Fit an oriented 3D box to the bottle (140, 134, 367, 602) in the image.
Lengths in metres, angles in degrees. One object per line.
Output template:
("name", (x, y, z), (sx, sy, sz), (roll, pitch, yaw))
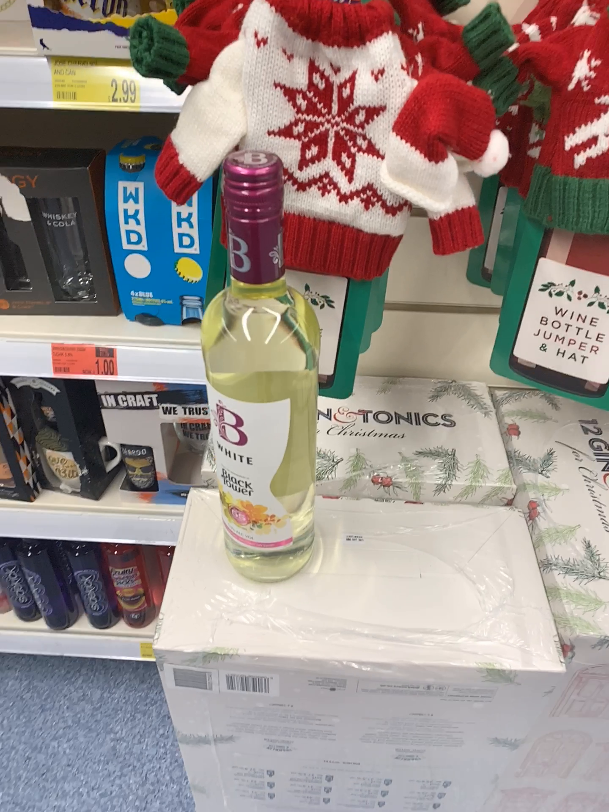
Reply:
("bottle", (-0.028, -0.007, 0.402), (0.081, 0.288, 0.080), (1, 39, -1))
